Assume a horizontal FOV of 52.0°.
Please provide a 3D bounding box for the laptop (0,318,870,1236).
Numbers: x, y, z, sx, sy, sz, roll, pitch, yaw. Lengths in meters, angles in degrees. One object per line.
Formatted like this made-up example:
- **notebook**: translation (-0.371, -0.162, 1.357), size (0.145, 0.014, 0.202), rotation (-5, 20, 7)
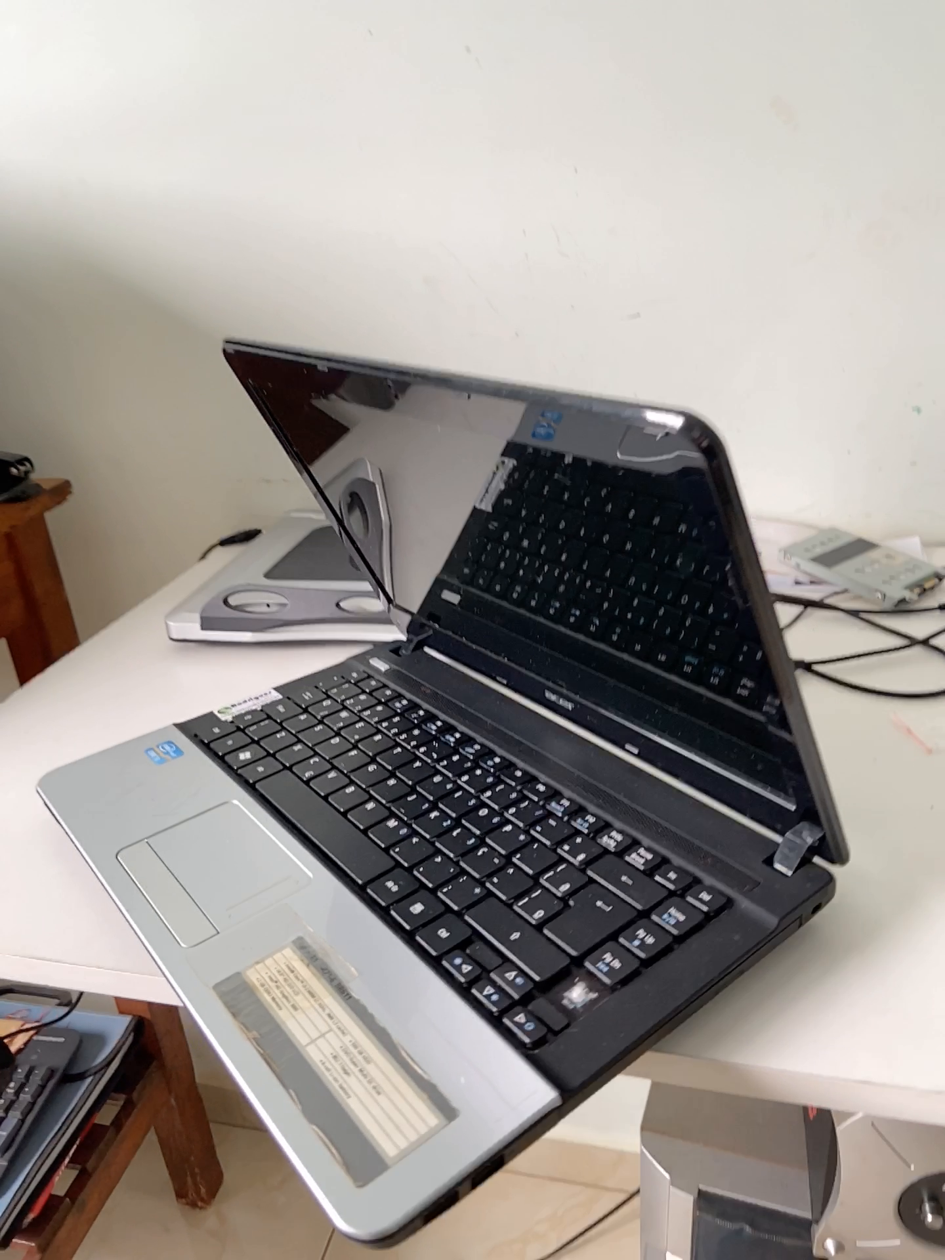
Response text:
- **laptop**: translation (-0.050, -0.003, 0.427), size (0.239, 0.211, 0.327), rotation (-21, 29, -32)
